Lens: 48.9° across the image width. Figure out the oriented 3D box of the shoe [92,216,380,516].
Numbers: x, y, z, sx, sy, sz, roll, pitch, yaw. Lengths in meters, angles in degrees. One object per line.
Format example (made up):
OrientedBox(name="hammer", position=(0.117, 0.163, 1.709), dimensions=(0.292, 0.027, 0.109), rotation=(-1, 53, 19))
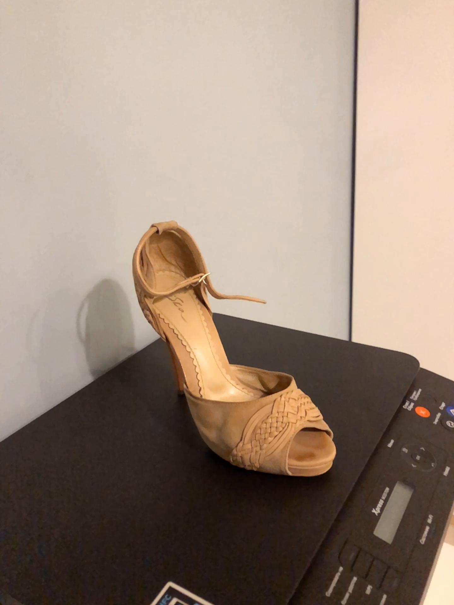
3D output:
OrientedBox(name="shoe", position=(-0.001, 0.030, 0.411), dimensions=(0.090, 0.159, 0.221), rotation=(-24, 30, -39))
